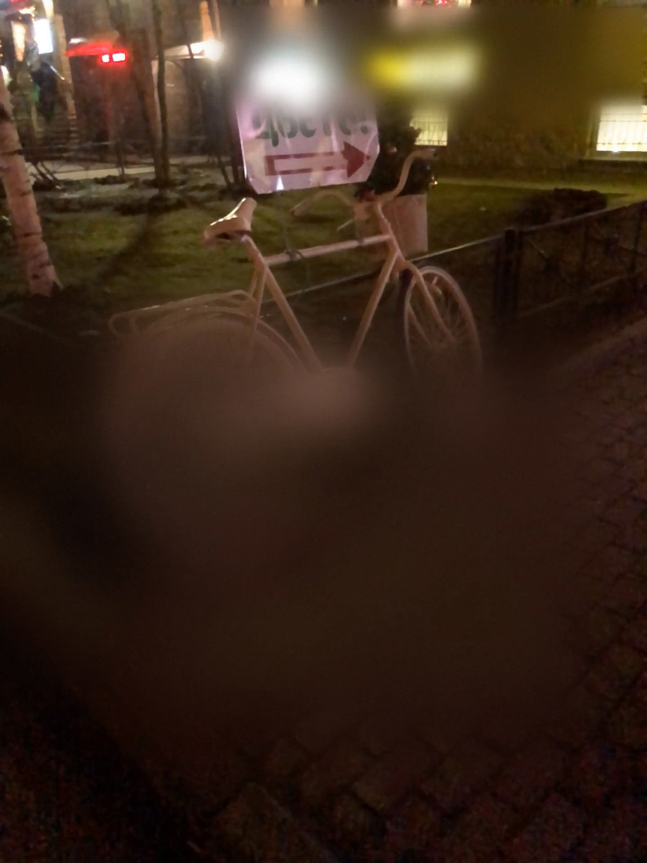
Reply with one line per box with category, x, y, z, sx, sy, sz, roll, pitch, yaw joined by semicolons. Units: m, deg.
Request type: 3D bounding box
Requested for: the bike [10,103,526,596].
bike;-0.035;-0.483;2.583;0.607;1.119;1.834;19;35;39
